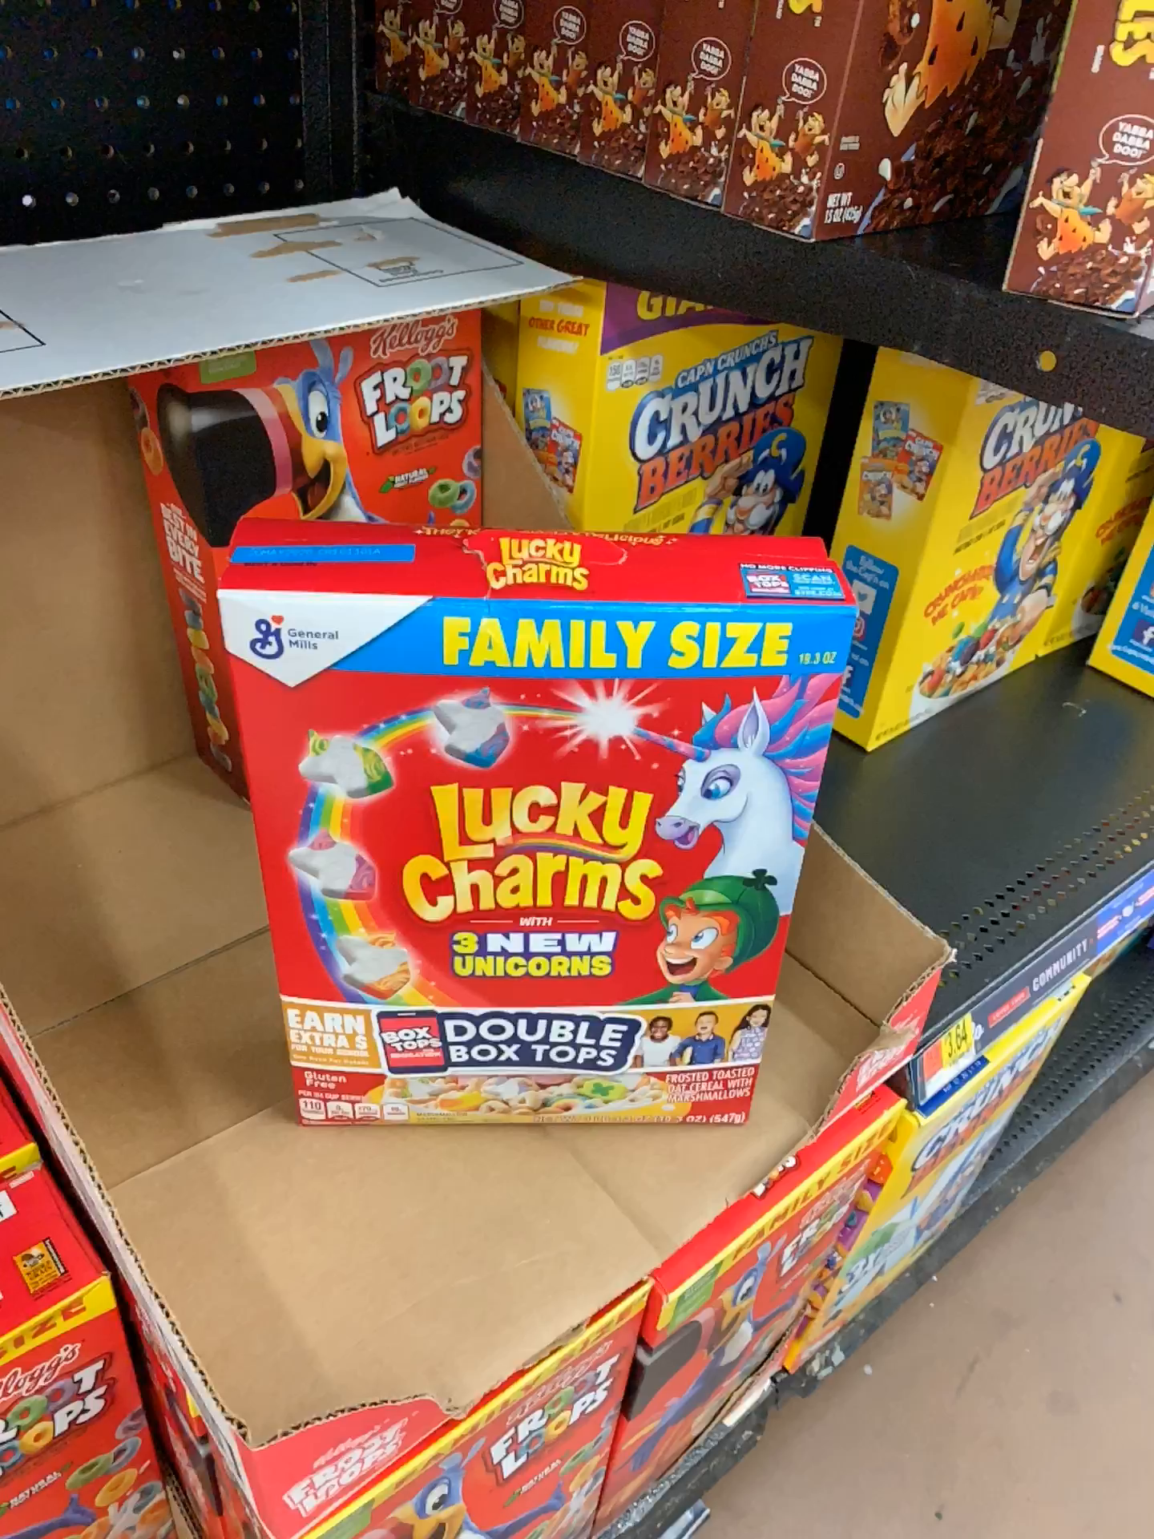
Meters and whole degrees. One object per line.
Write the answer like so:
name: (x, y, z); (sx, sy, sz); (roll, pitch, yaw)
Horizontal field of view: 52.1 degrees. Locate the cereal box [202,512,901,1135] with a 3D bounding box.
cereal box: (-0.014, 0.040, 0.500); (0.230, 0.289, 0.060); (0, 38, -4)
